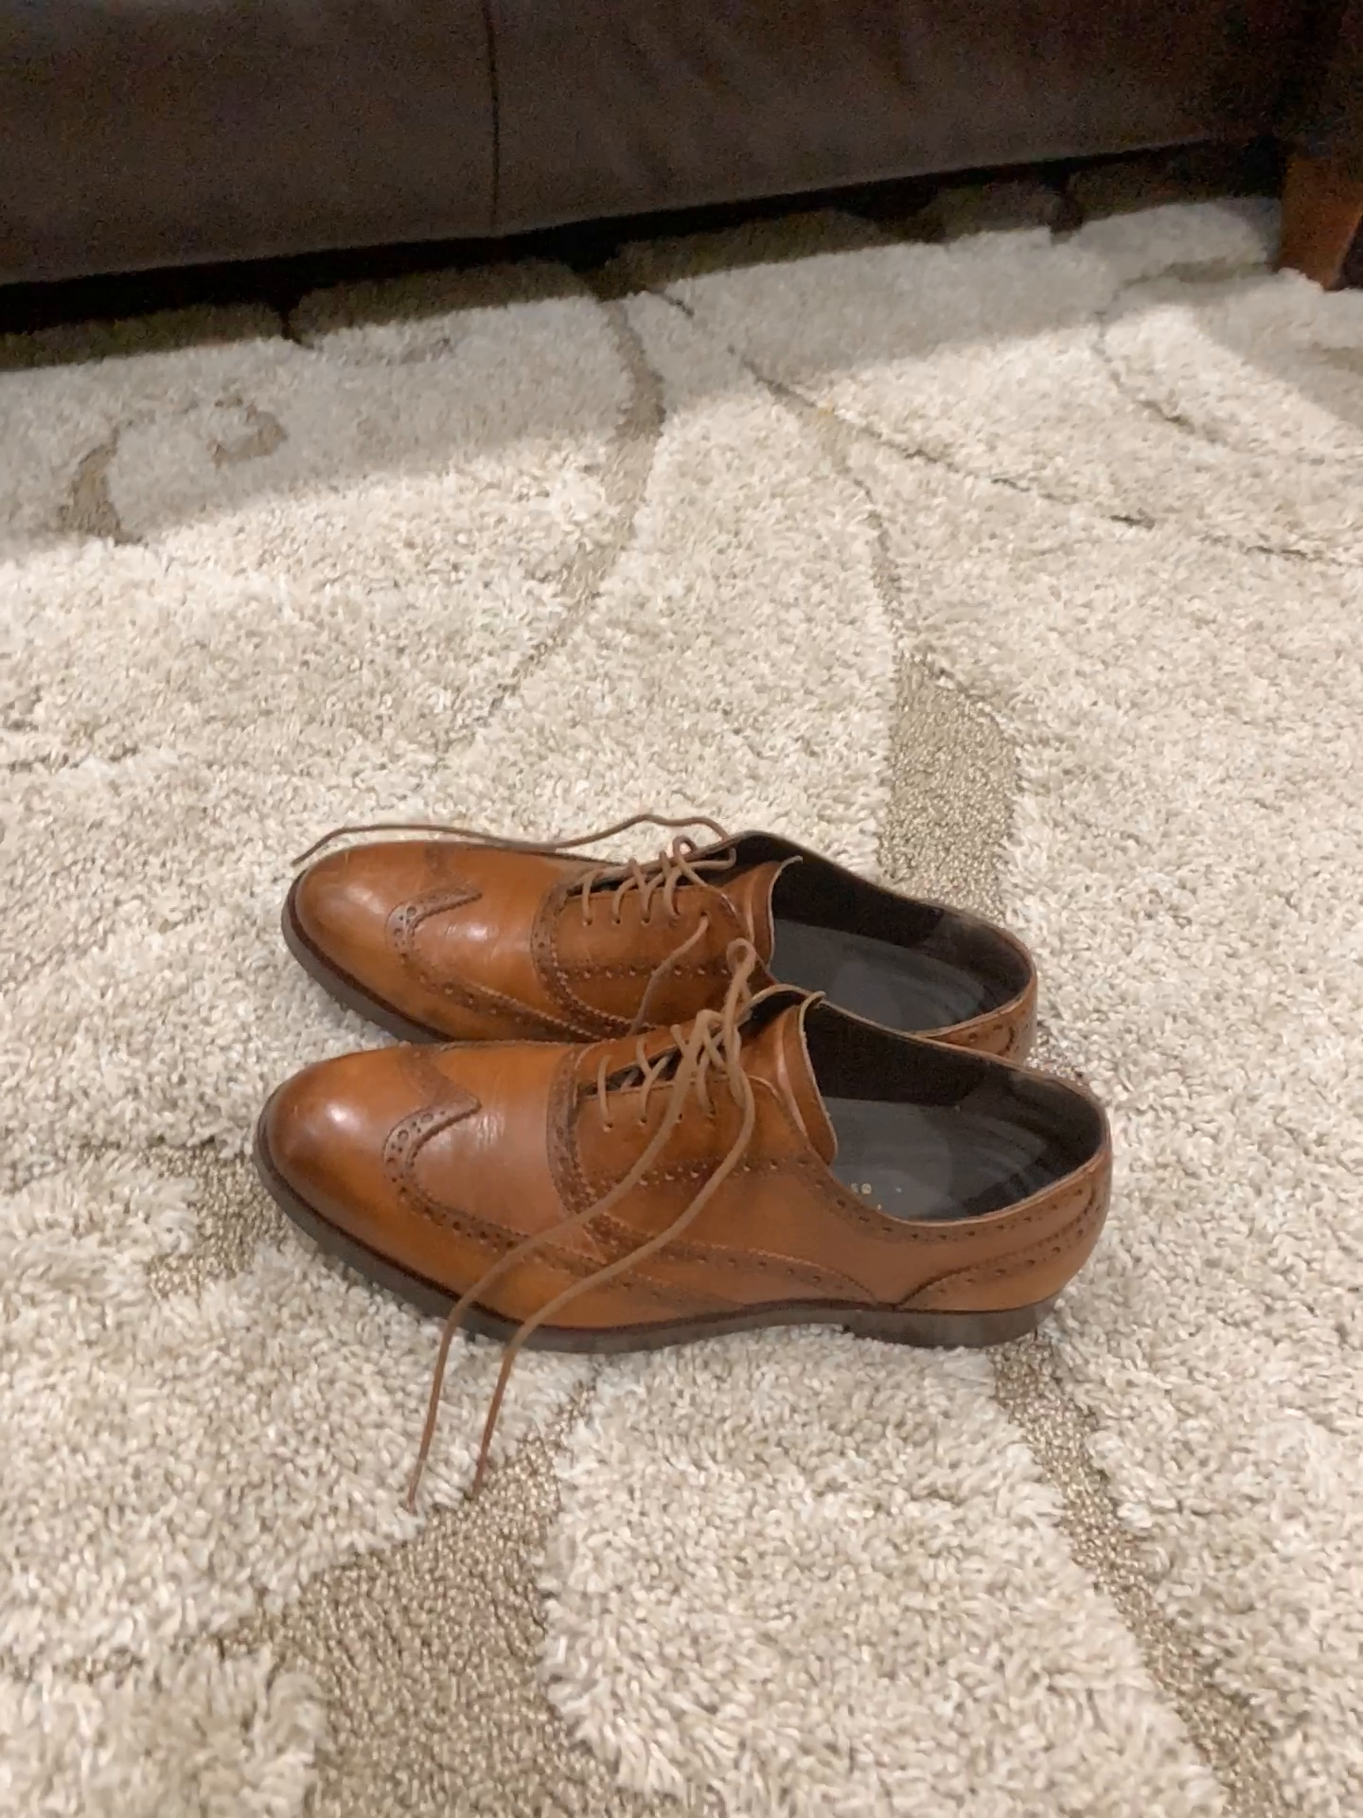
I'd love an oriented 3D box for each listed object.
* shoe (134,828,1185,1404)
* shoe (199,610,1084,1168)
[{"bbox_3d":[-0.007,0.071,0.454,0.280,0.131,0.106,6,47,-2],"label":"shoe"},{"bbox_3d":[-0.012,-0.006,0.522,0.282,0.131,0.106,9,47,2],"label":"shoe"}]
